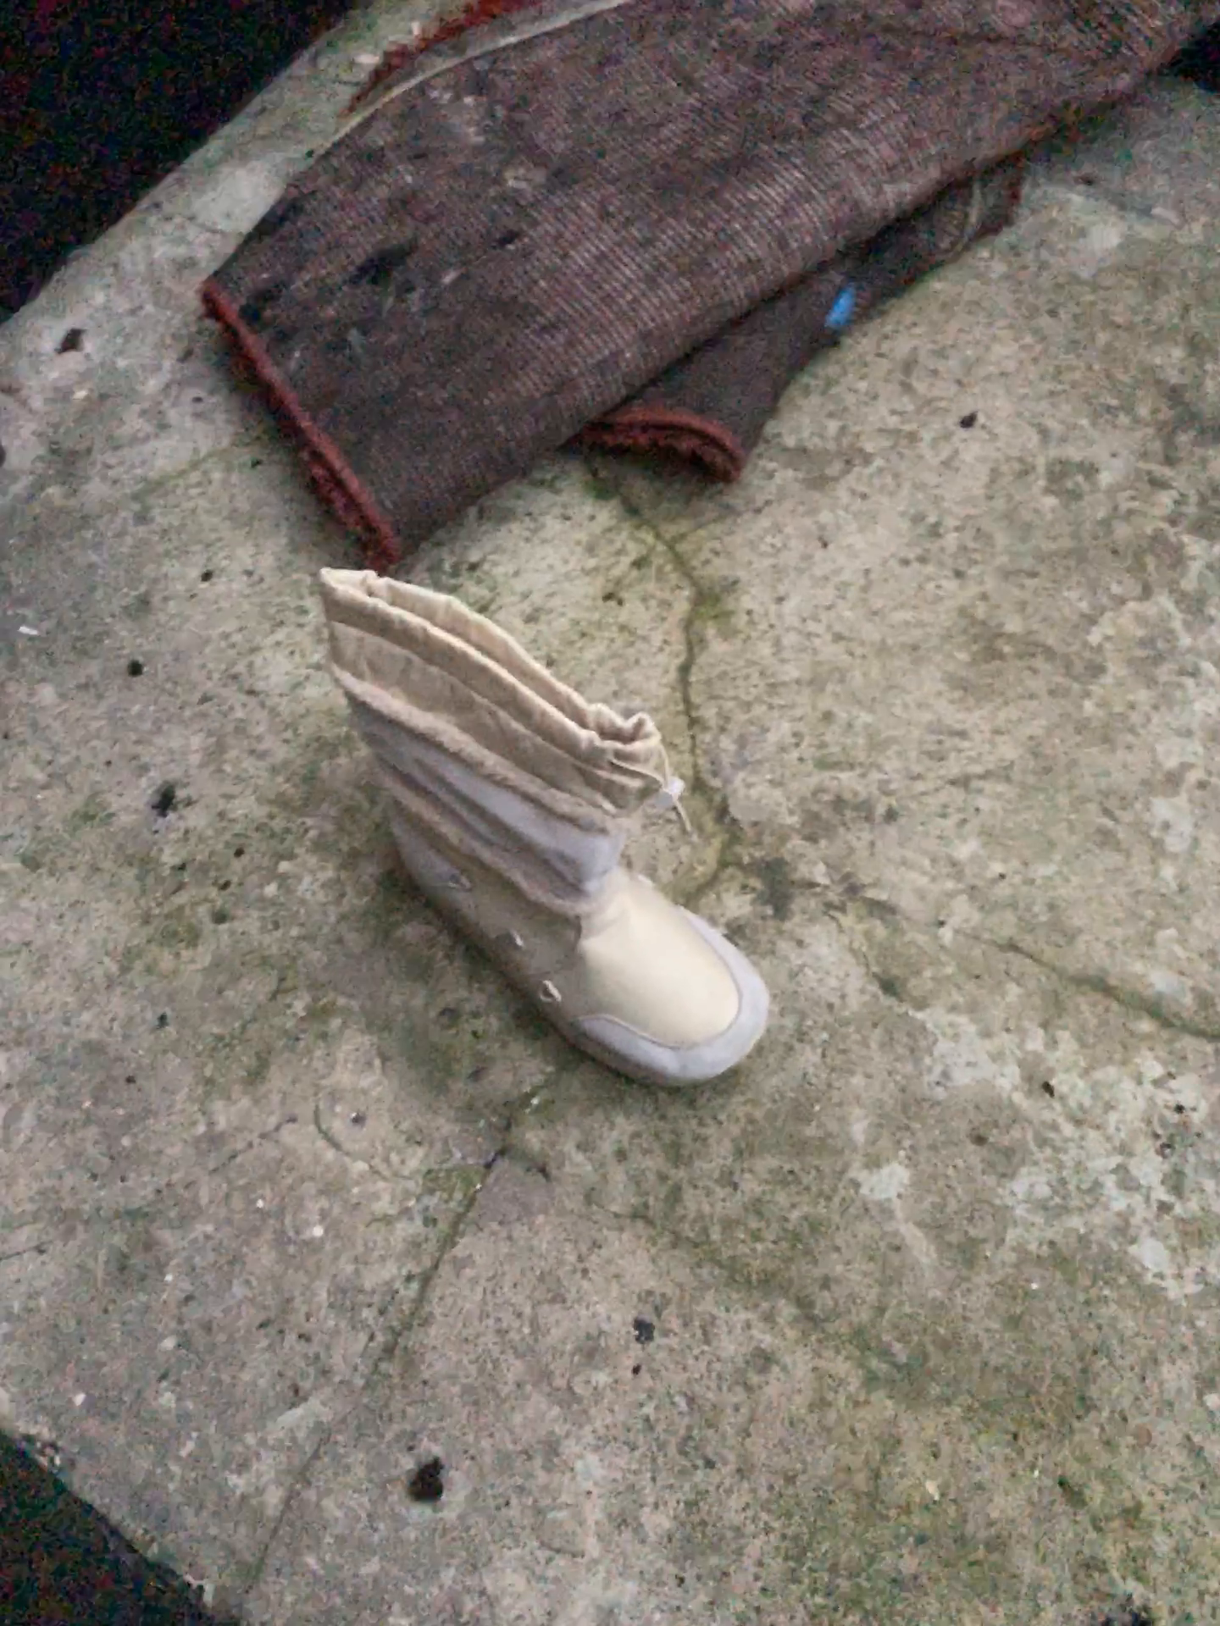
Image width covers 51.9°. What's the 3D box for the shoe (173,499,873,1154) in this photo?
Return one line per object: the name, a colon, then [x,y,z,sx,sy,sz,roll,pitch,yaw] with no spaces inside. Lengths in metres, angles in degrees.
shoe: [-0.035,0.030,0.644,0.270,0.299,0.110,32,72,14]
